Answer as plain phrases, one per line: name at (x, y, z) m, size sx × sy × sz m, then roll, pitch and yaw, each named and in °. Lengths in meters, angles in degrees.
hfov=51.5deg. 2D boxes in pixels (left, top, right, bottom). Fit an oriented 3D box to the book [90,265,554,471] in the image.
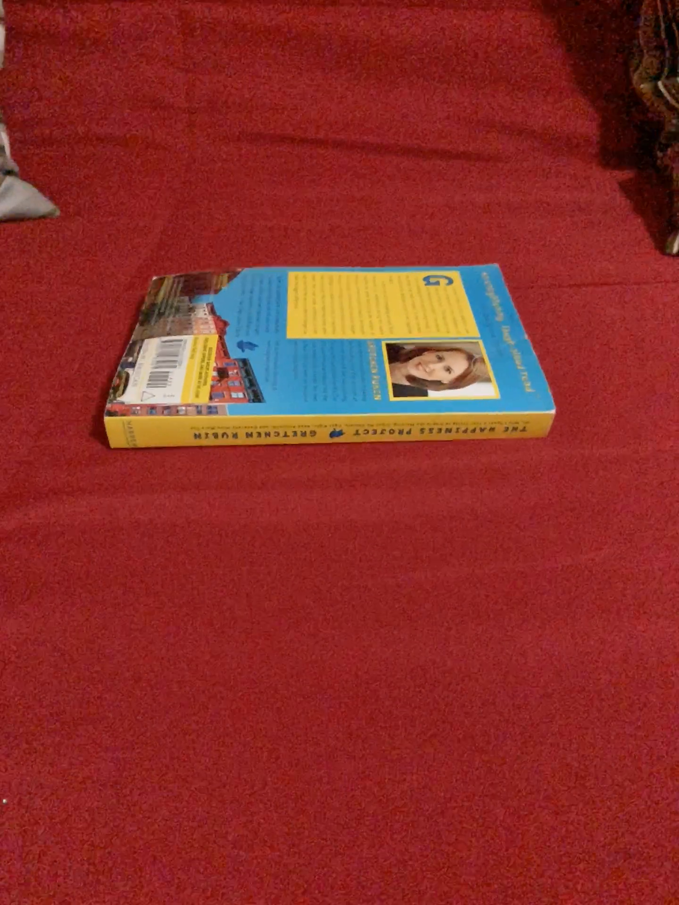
book at (-0.009, -0.050, 0.367) m, size 0.202 × 0.033 × 0.133 m, roll -1°, pitch 41°, yaw -1°
